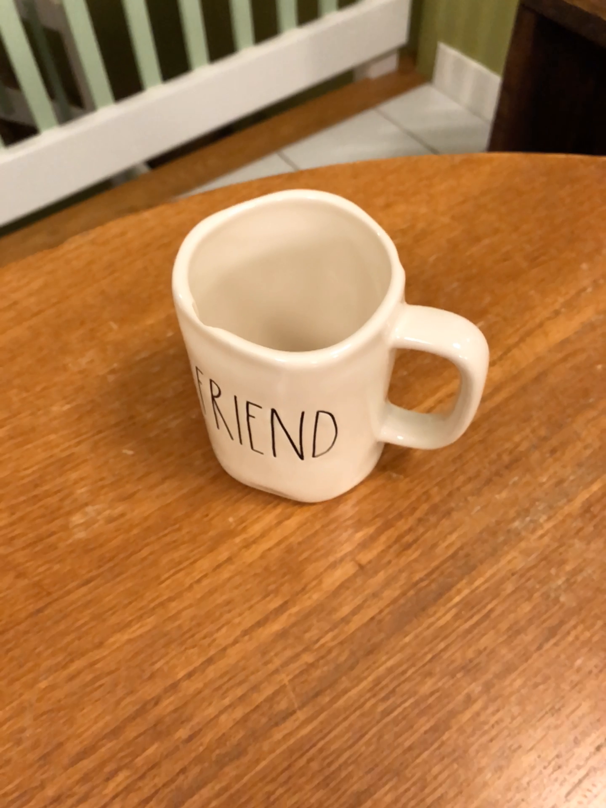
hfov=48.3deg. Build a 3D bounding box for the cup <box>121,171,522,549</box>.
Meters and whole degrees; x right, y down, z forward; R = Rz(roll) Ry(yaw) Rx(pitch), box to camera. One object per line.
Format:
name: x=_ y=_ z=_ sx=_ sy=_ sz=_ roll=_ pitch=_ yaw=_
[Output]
cup: x=0.011 y=-0.015 z=0.290 sx=0.124 sy=0.114 sz=0.084 roll=14 pitch=58 yaw=11
